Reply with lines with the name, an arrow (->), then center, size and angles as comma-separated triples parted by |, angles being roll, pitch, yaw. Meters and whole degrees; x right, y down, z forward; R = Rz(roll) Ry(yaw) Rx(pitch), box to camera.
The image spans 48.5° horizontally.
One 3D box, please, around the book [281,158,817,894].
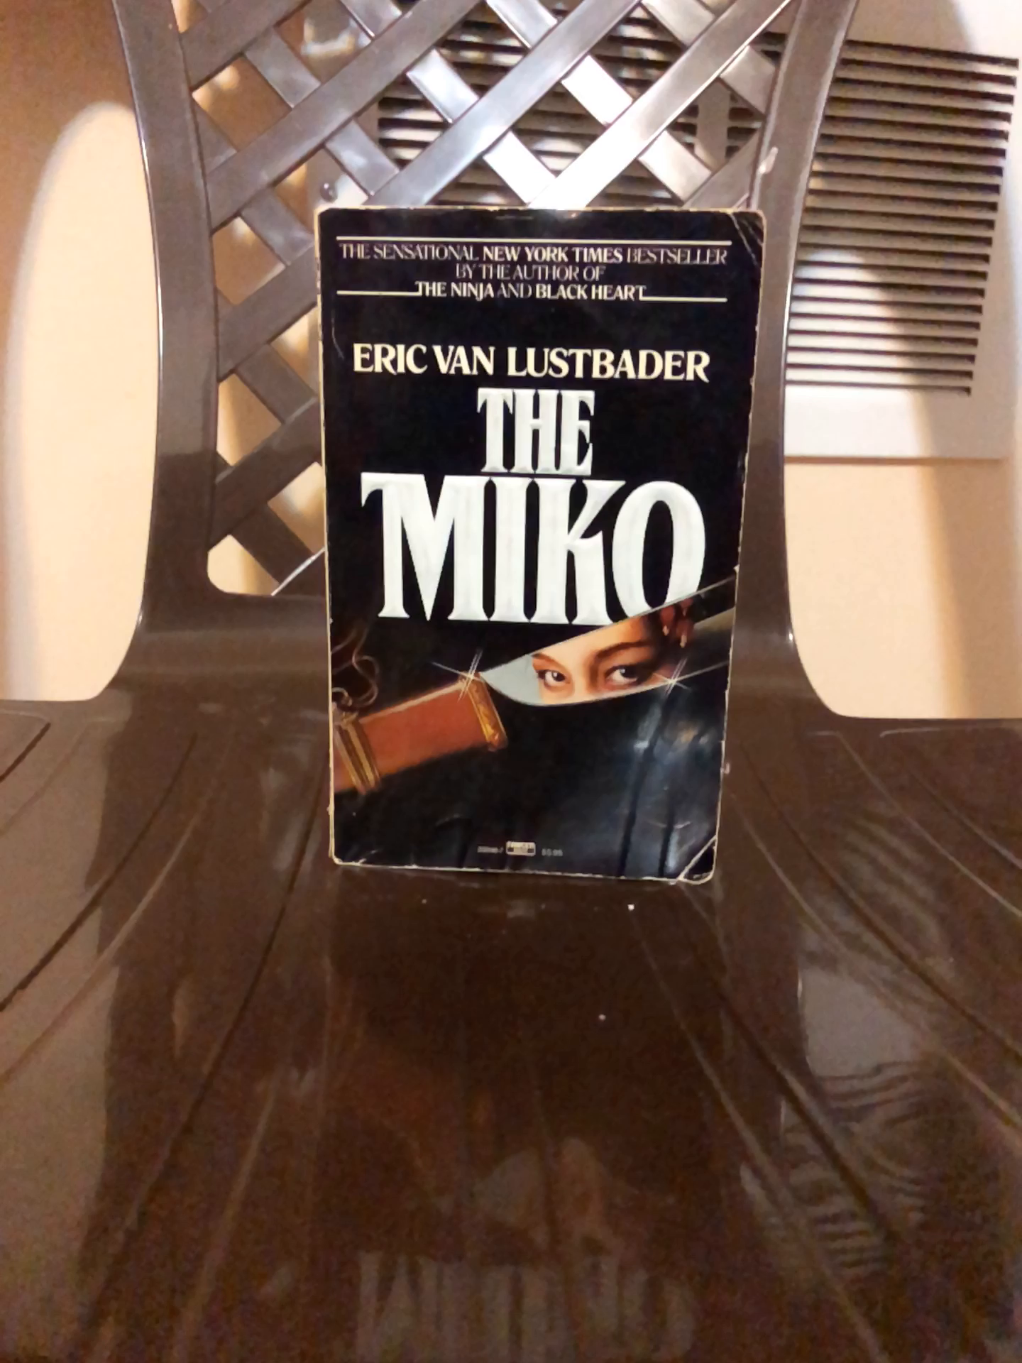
book -> 0.005, -0.036, 0.291 | 0.120, 0.170, 0.040 | 3, 12, 1
